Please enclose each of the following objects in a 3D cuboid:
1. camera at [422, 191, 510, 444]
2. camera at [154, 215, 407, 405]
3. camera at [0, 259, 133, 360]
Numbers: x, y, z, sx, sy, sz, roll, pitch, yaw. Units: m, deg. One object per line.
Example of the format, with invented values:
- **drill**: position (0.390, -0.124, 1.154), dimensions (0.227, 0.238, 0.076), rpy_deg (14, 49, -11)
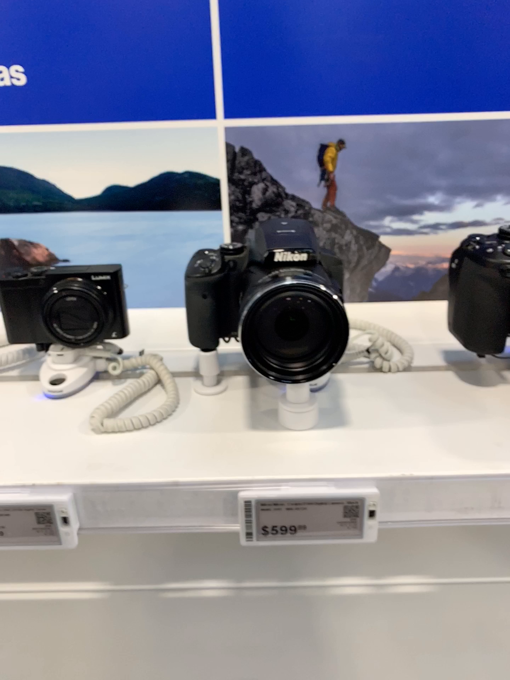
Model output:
- **camera**: position (0.244, -0.036, 0.395), dimensions (0.160, 0.109, 0.221), rpy_deg (-3, 23, -1)
- **camera**: position (0.017, -0.033, 0.423), dimensions (0.160, 0.099, 0.151), rpy_deg (-2, 23, 0)
- **camera**: position (-0.170, -0.028, 0.460), dimensions (0.110, 0.070, 0.050), rpy_deg (-2, 23, 0)
